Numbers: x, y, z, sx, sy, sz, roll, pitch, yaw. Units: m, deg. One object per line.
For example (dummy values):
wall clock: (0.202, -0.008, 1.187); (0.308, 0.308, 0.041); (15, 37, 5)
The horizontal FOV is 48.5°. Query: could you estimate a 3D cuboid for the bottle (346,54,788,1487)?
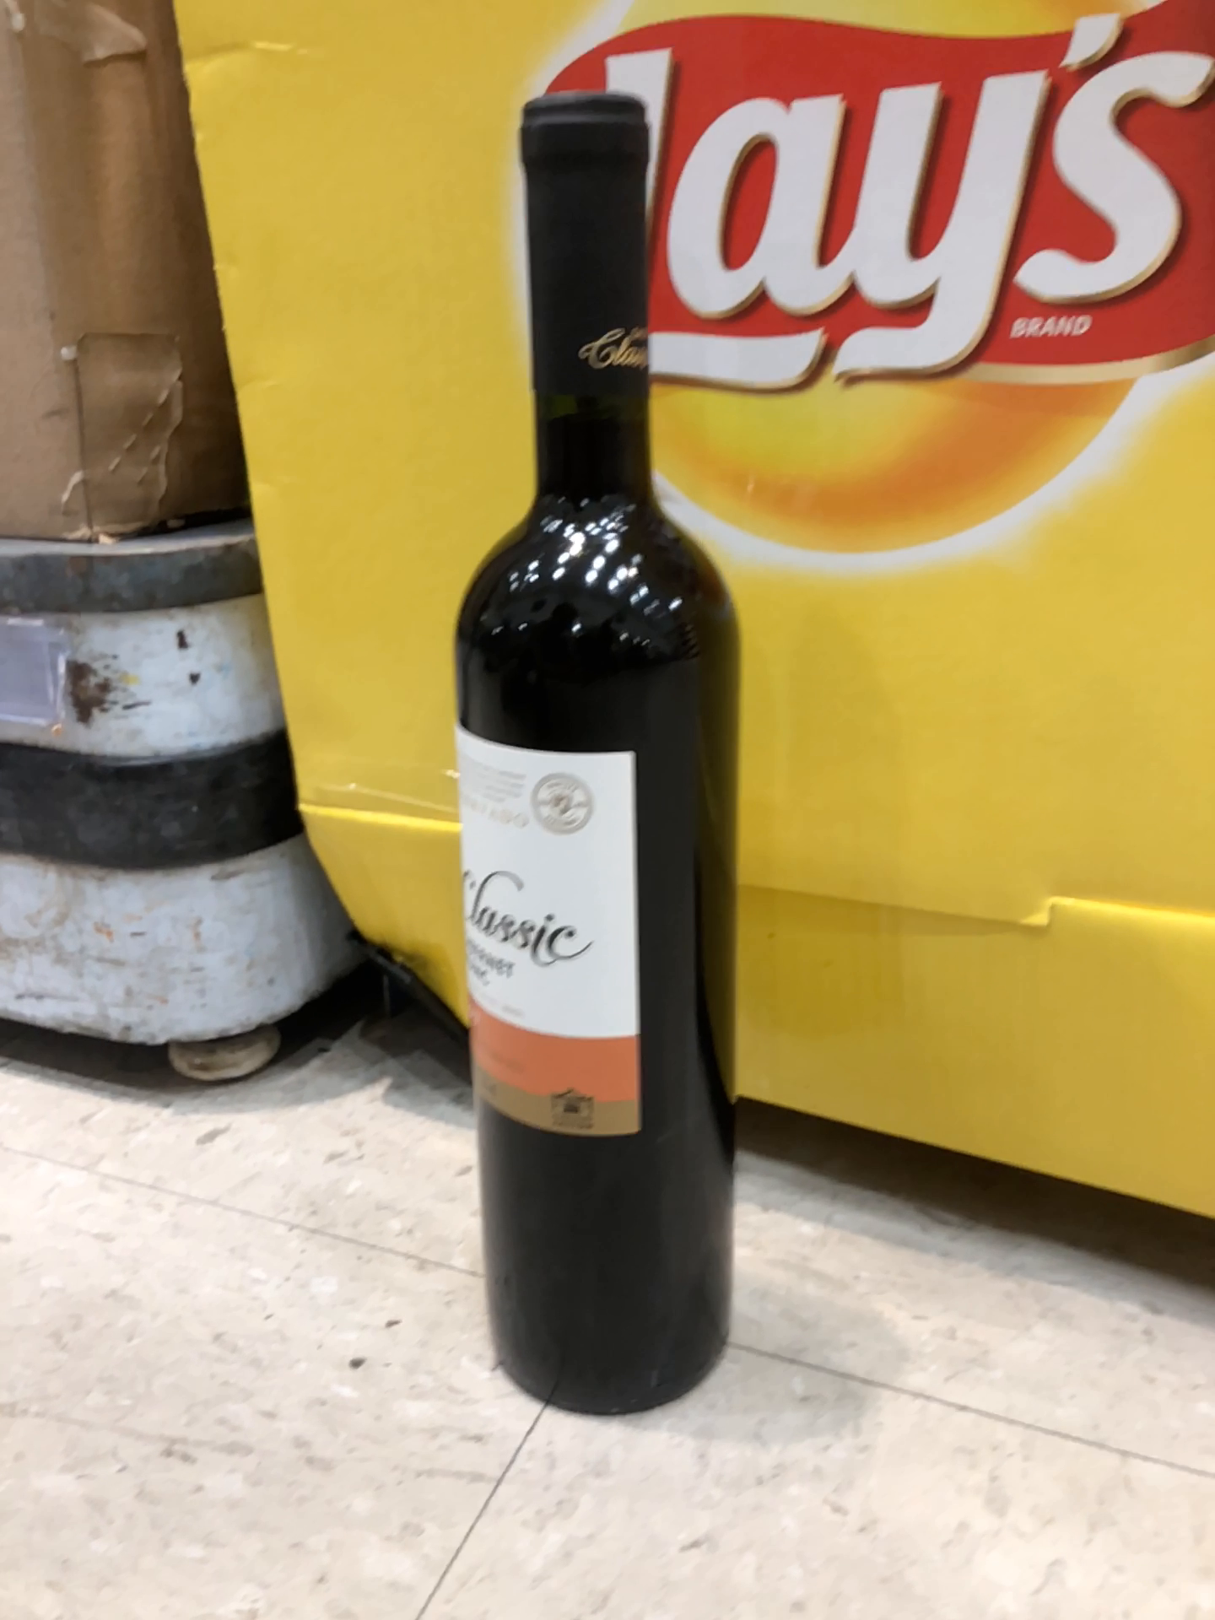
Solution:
bottle: (-0.005, 0.003, 0.330); (0.060, 0.318, 0.070); (-18, 25, -39)
